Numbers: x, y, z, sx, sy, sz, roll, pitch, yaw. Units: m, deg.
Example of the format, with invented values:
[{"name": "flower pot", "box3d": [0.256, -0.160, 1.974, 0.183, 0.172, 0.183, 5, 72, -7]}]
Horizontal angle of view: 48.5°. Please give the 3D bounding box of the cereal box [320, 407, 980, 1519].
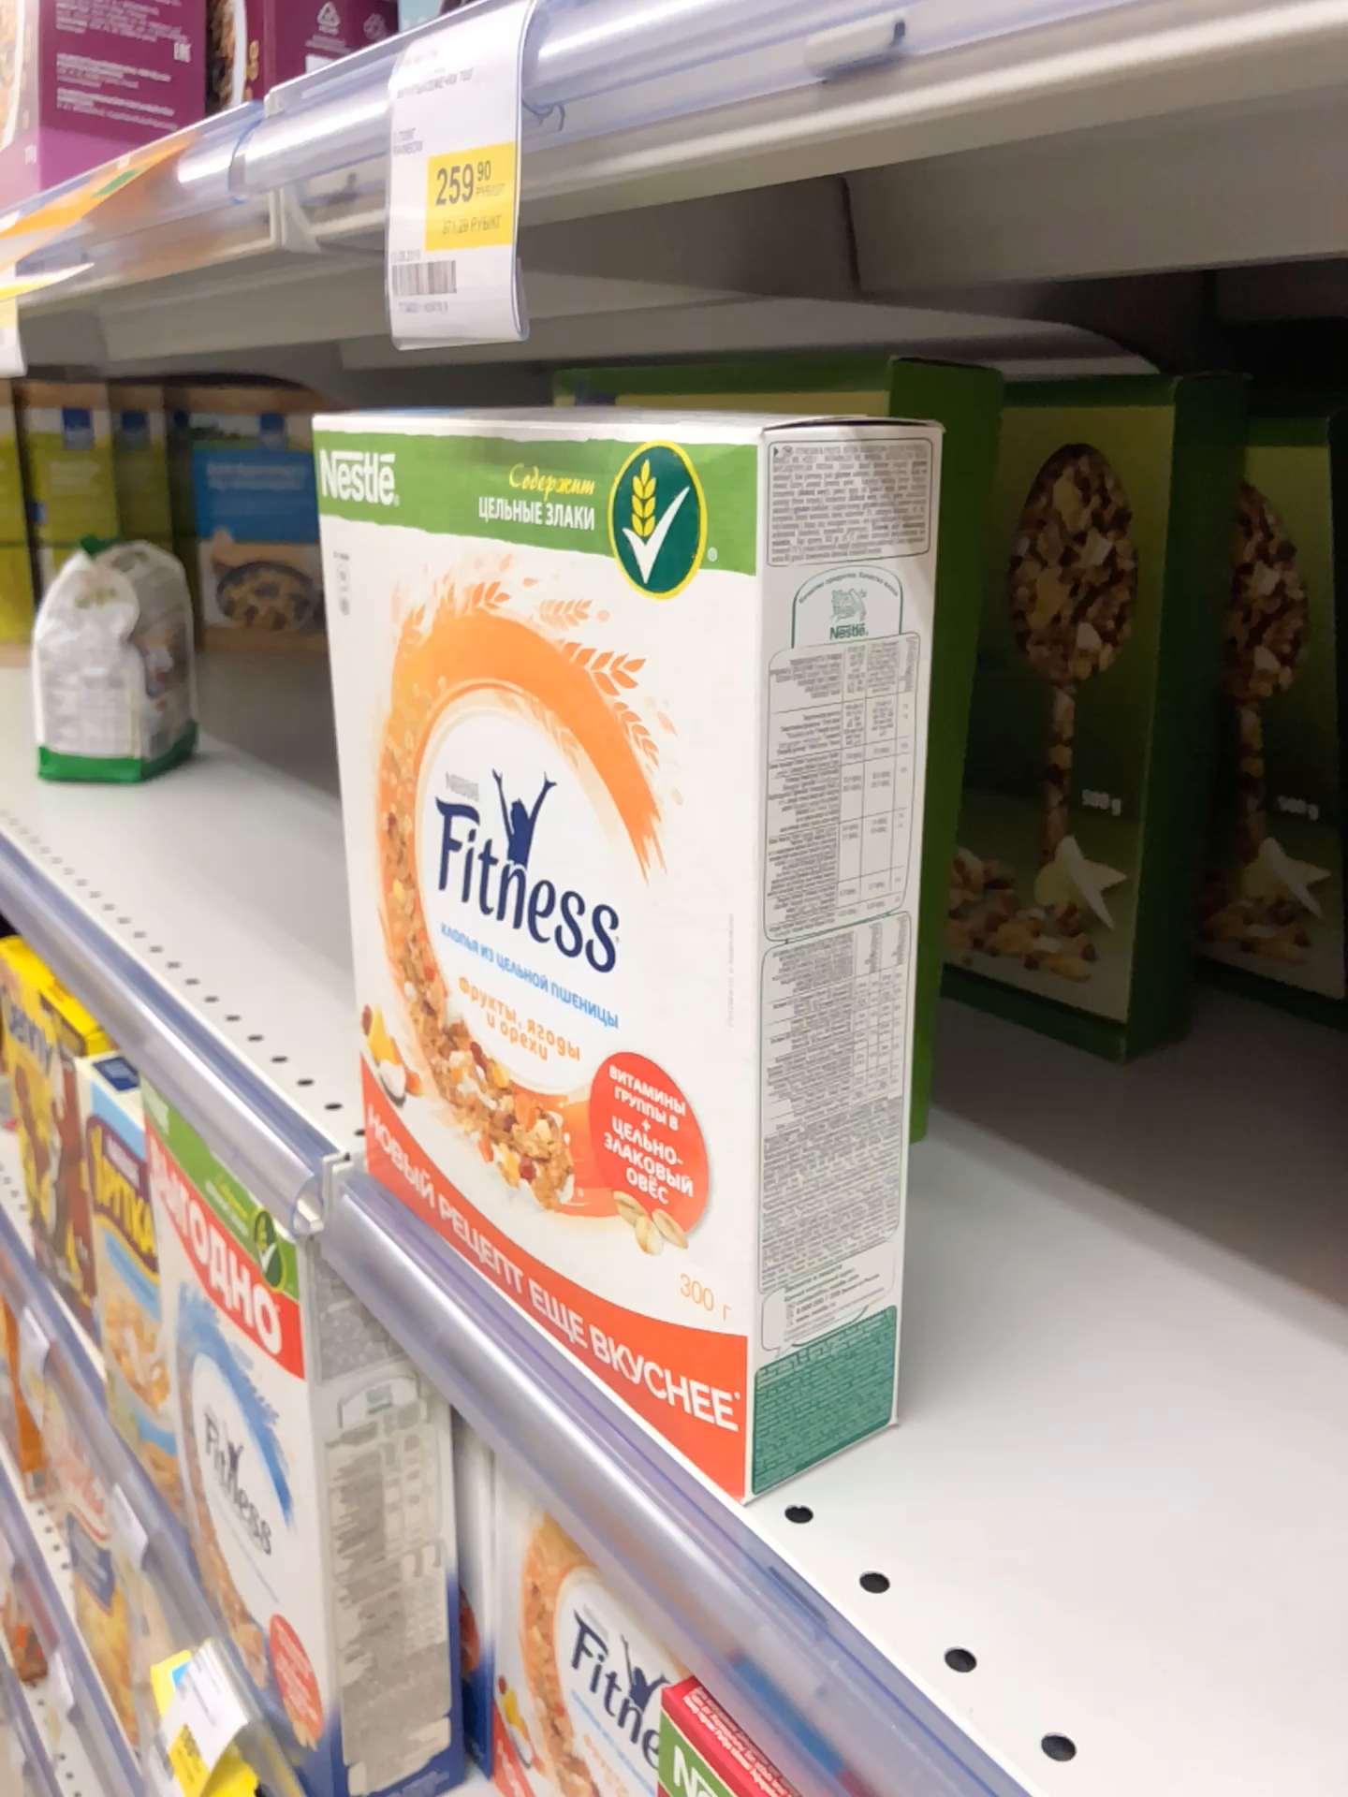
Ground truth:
[{"name": "cereal box", "box3d": [-0.017, -0.003, 0.377, 0.050, 0.229, 0.190, -13, 22, -34]}]
